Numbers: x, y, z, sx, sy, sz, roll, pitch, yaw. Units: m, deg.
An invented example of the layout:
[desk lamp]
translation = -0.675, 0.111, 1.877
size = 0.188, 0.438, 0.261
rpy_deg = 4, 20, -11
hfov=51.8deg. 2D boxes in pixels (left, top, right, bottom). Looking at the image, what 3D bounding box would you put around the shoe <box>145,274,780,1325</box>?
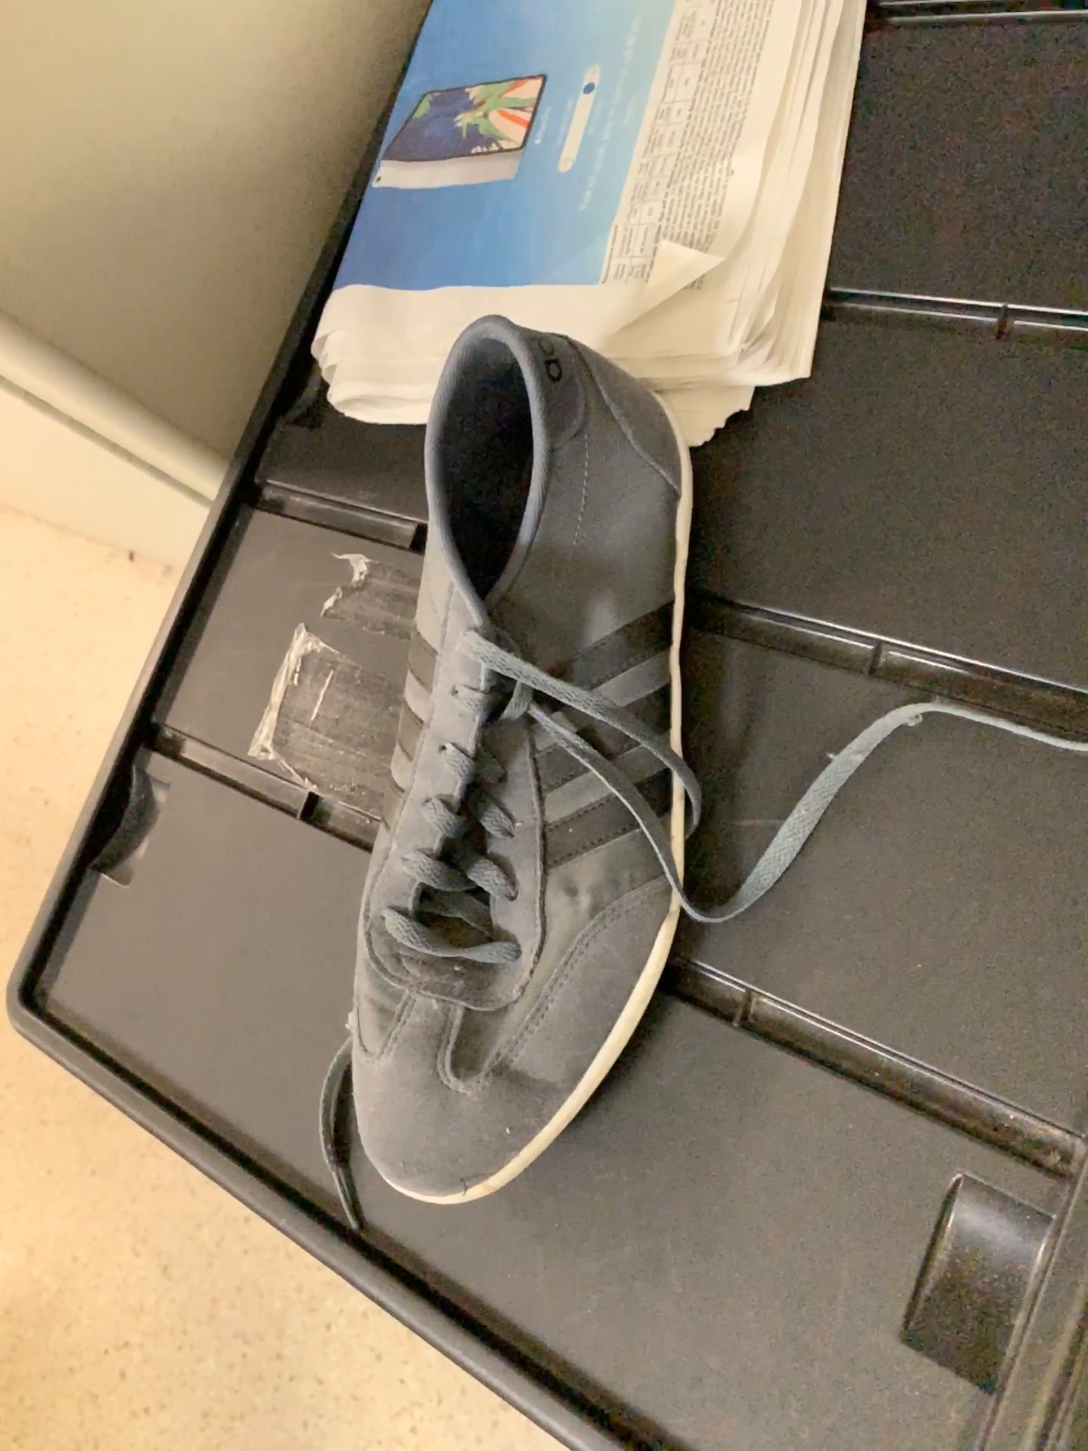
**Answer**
[shoe]
translation = -0.016, 0.011, 0.338
size = 0.114, 0.077, 0.268
rpy_deg = 6, 77, 29
